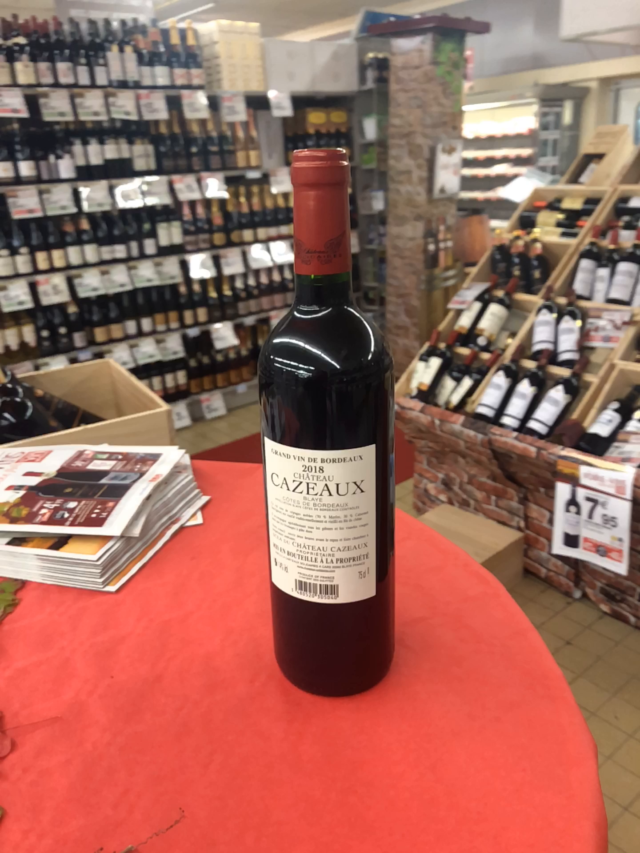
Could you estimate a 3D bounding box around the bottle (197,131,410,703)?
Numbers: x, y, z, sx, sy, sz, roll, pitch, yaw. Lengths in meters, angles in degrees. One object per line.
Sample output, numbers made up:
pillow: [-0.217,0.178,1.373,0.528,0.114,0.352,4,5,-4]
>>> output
bottle: [0.002,0.000,0.395,0.080,0.299,0.080,-3,20,1]
